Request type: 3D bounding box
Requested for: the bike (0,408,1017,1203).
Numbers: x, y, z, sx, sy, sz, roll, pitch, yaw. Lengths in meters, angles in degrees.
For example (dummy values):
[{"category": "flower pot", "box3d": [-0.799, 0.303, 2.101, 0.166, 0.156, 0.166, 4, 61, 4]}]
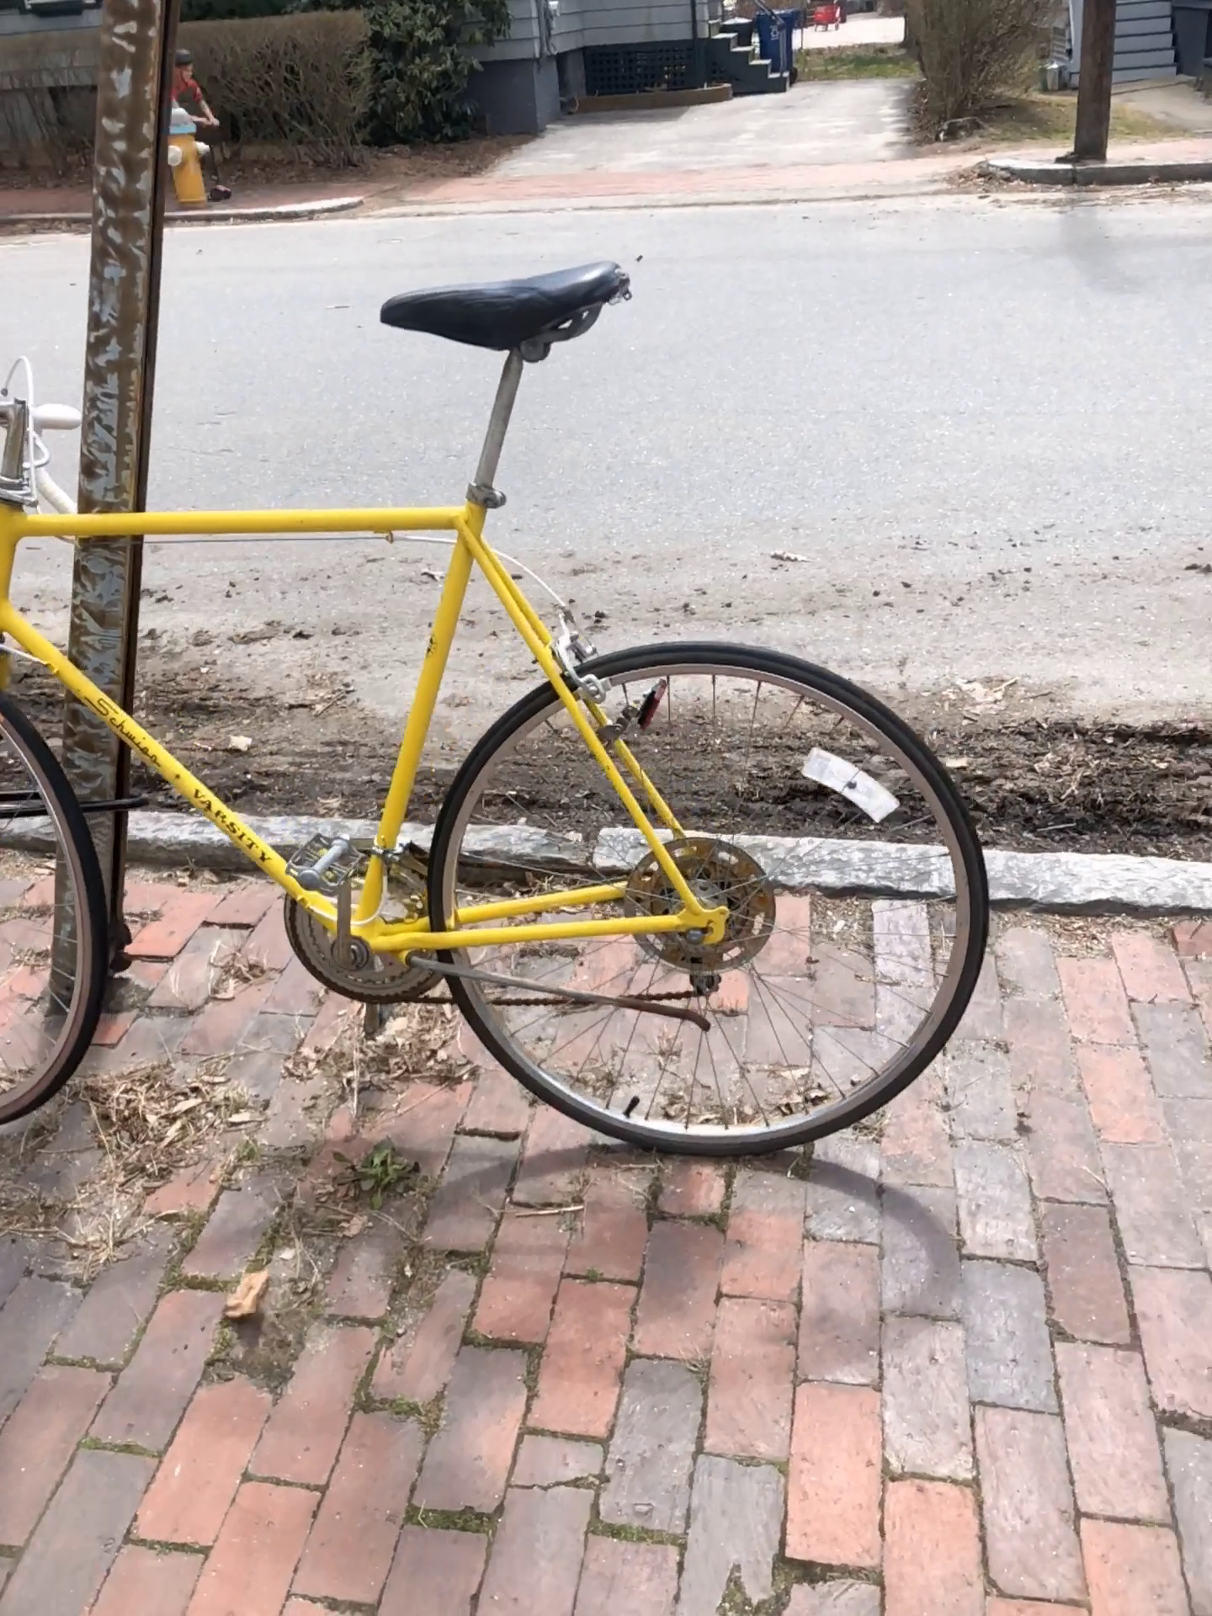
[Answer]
[{"category": "bike", "box3d": [-0.379, -0.007, 1.835, 1.685, 0.804, 0.542, 0, 31, 14]}]
